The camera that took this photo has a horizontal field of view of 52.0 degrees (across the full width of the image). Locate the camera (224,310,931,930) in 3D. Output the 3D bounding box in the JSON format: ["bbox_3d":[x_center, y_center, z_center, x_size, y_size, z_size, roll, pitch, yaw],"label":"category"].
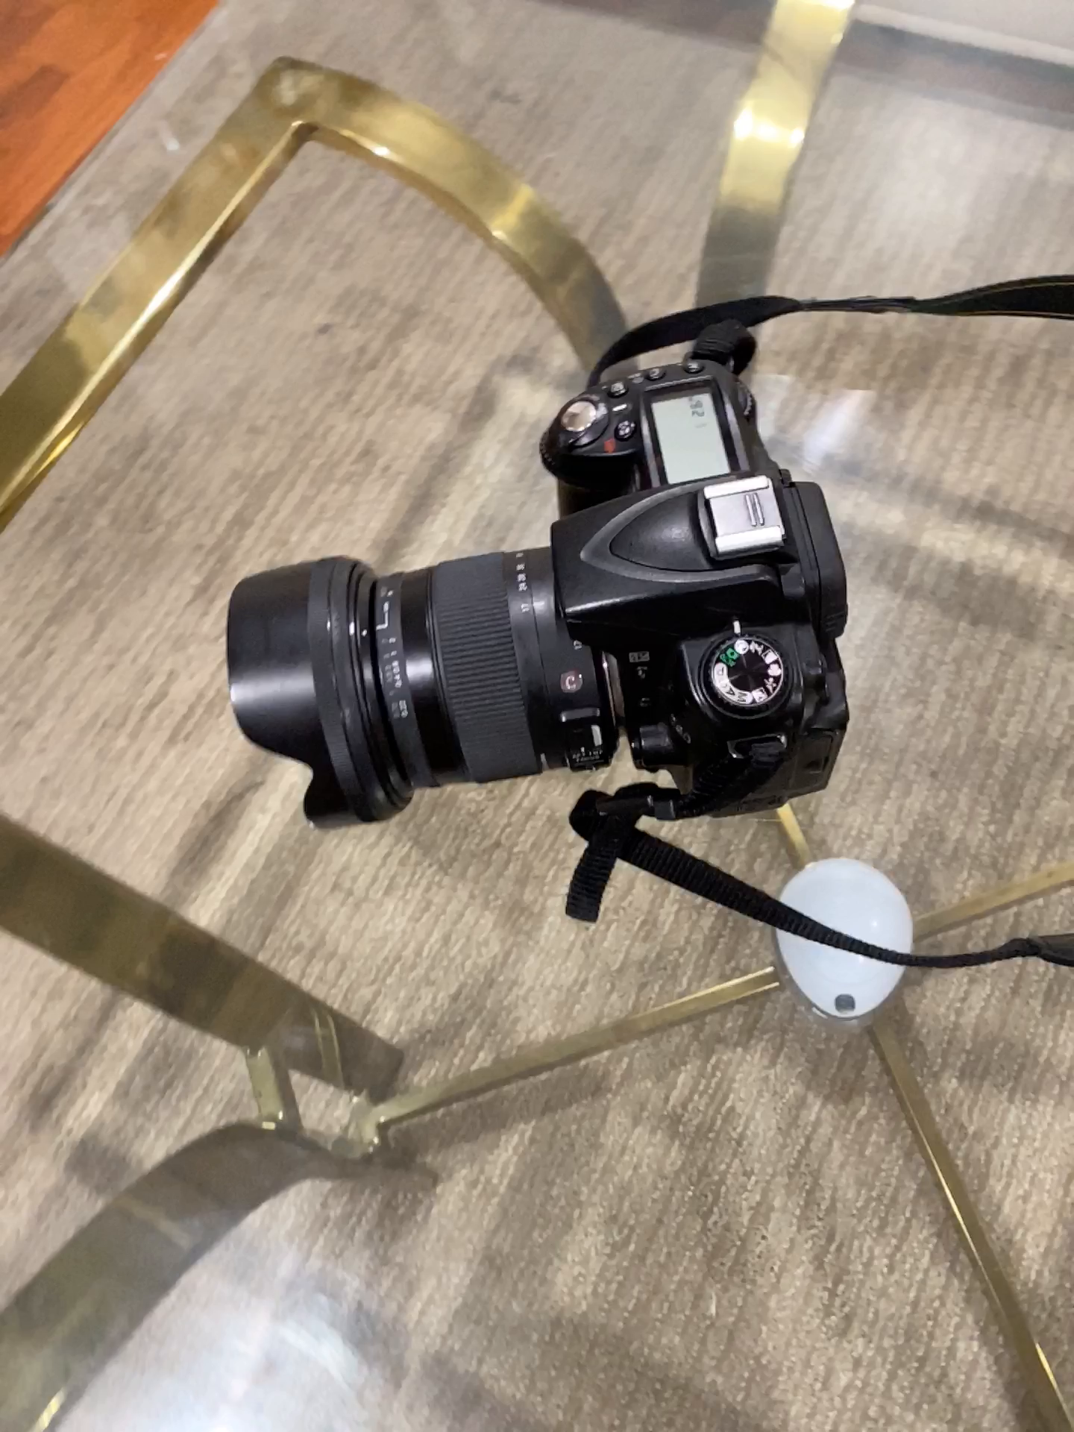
[{"bbox_3d":[0.008,-0.024,0.366,0.180,0.120,0.130,-11,64,2],"label":"camera"}]
